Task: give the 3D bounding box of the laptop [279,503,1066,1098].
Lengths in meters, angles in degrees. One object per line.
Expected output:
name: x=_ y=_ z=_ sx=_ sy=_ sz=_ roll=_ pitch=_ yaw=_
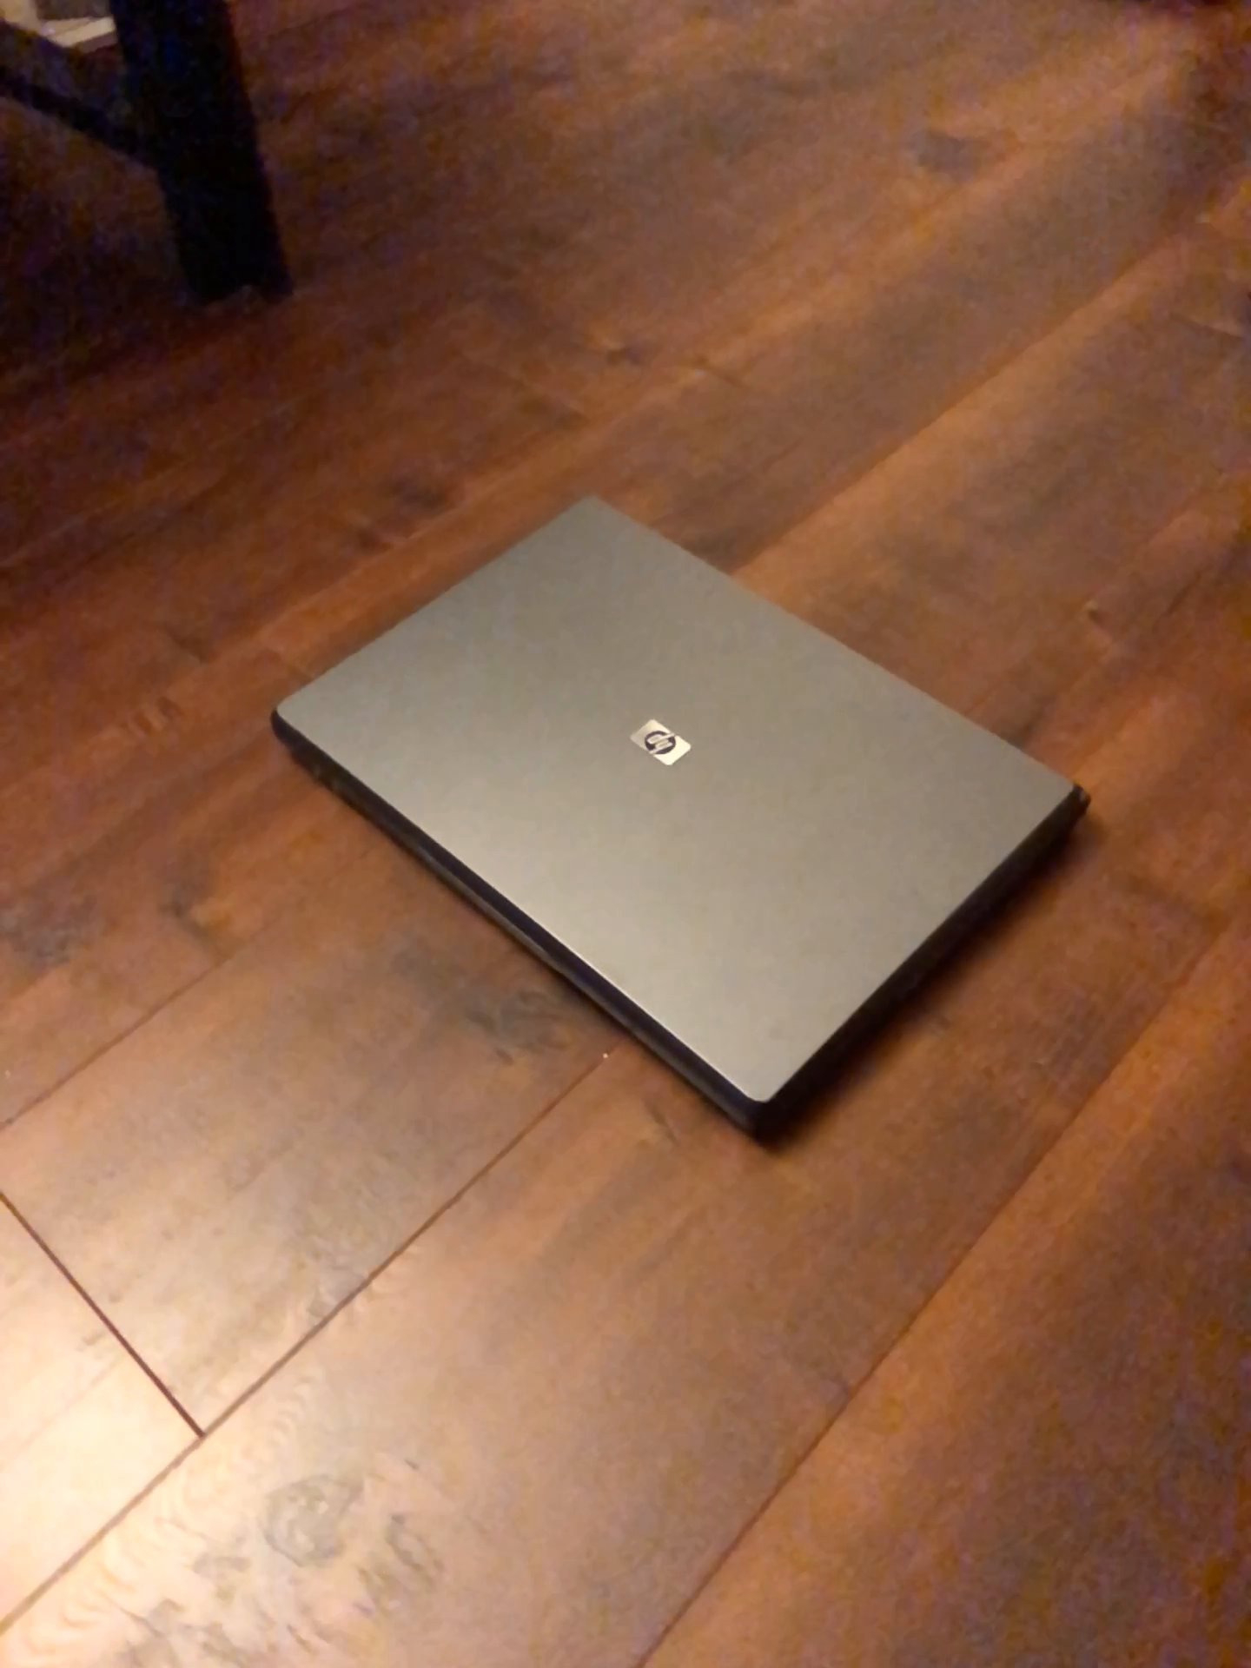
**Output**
laptop: x=0.016 y=-0.041 z=0.660 sx=0.310 sy=0.005 sz=0.216 roll=36 pitch=61 yaw=26
